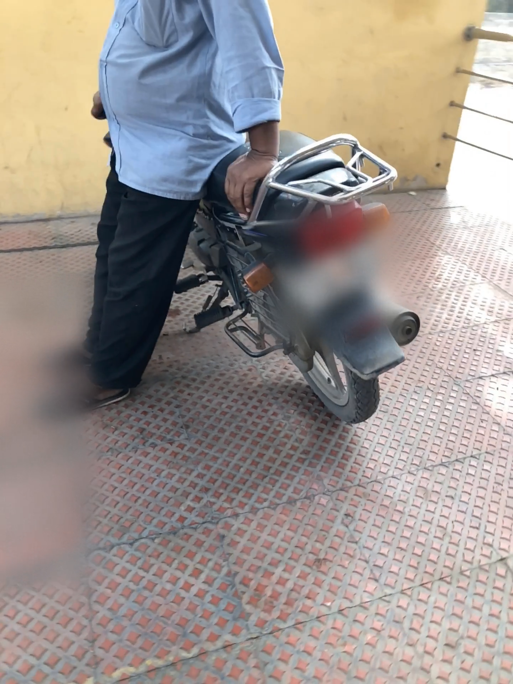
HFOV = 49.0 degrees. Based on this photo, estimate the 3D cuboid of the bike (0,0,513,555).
[{"bbox_3d":[-0.308,-0.508,1.682,0.923,1.007,1.679,-17,39,-26],"label":"bike"}]
